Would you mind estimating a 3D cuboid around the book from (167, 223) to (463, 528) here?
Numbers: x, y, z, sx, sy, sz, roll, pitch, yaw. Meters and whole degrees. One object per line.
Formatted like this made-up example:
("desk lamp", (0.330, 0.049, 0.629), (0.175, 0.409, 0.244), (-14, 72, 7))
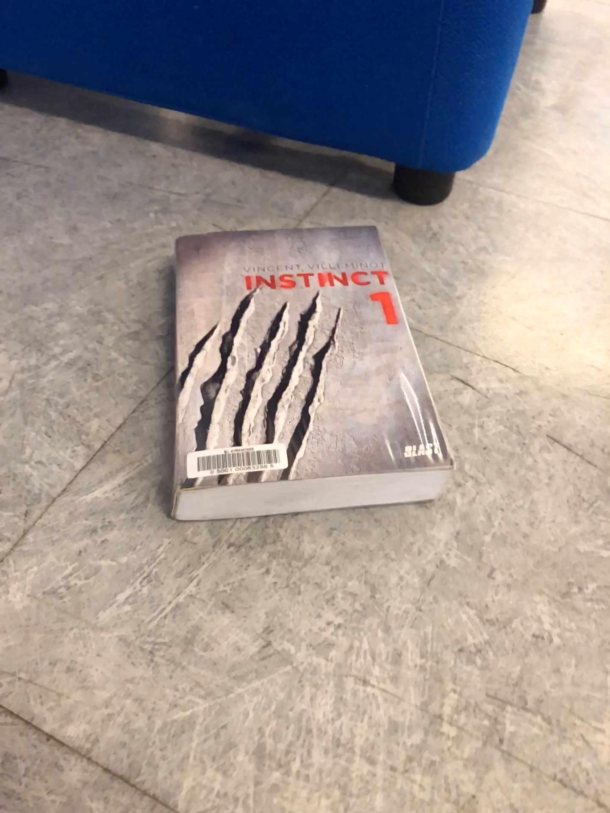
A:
("book", (-0.007, -0.033, 0.400), (0.142, 0.028, 0.211), (-4, 49, -6))
